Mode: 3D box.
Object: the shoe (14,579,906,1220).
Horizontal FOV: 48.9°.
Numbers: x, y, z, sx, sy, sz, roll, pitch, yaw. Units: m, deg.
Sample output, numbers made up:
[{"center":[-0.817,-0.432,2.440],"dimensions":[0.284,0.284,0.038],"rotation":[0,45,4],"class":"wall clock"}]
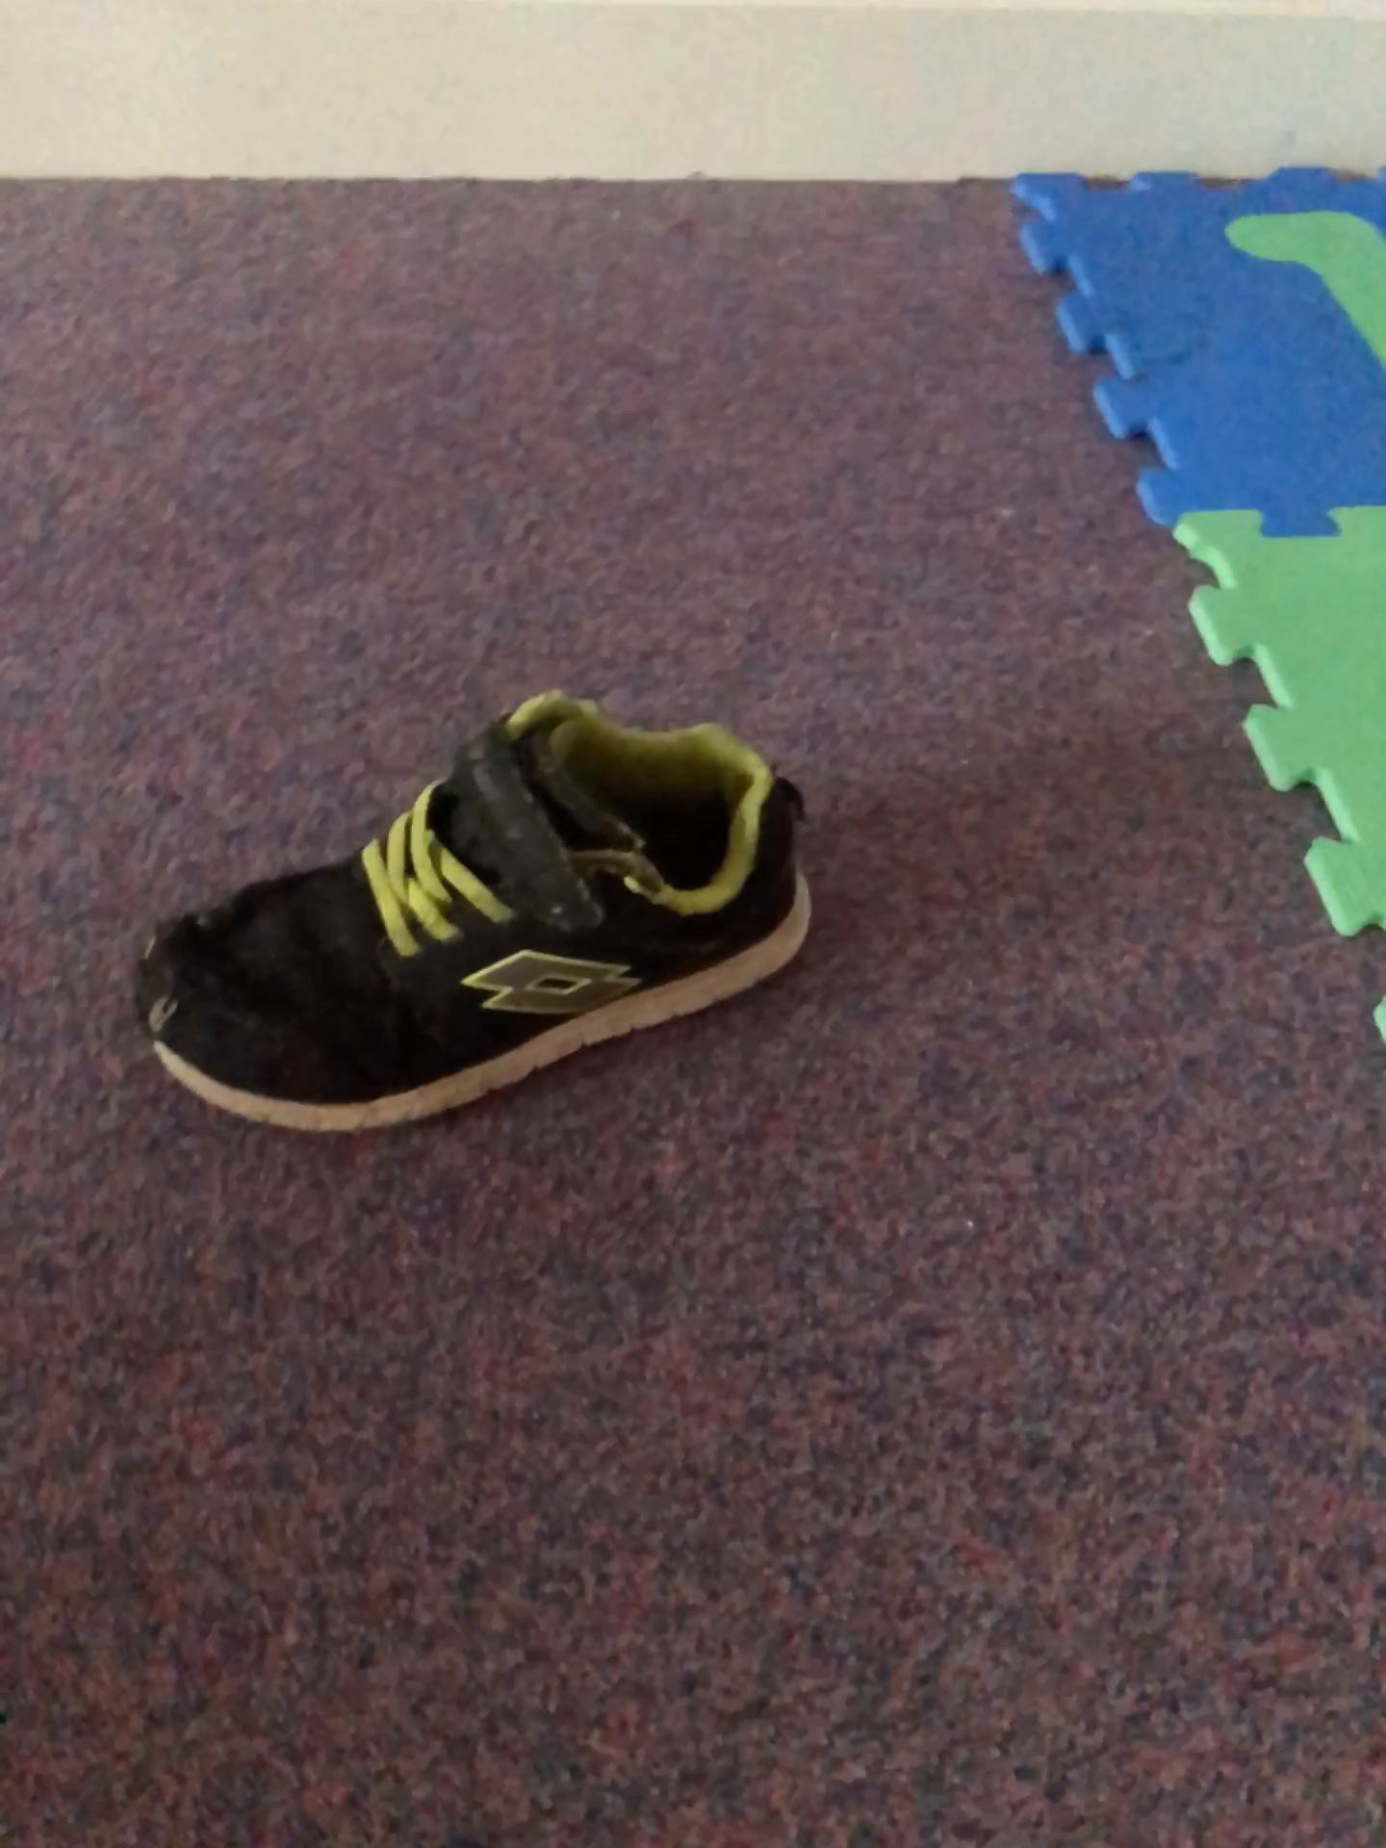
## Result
[{"center":[-0.064,-0.011,0.450],"dimensions":[0.221,0.100,0.090],"rotation":[-17,58,-17],"class":"shoe"}]
